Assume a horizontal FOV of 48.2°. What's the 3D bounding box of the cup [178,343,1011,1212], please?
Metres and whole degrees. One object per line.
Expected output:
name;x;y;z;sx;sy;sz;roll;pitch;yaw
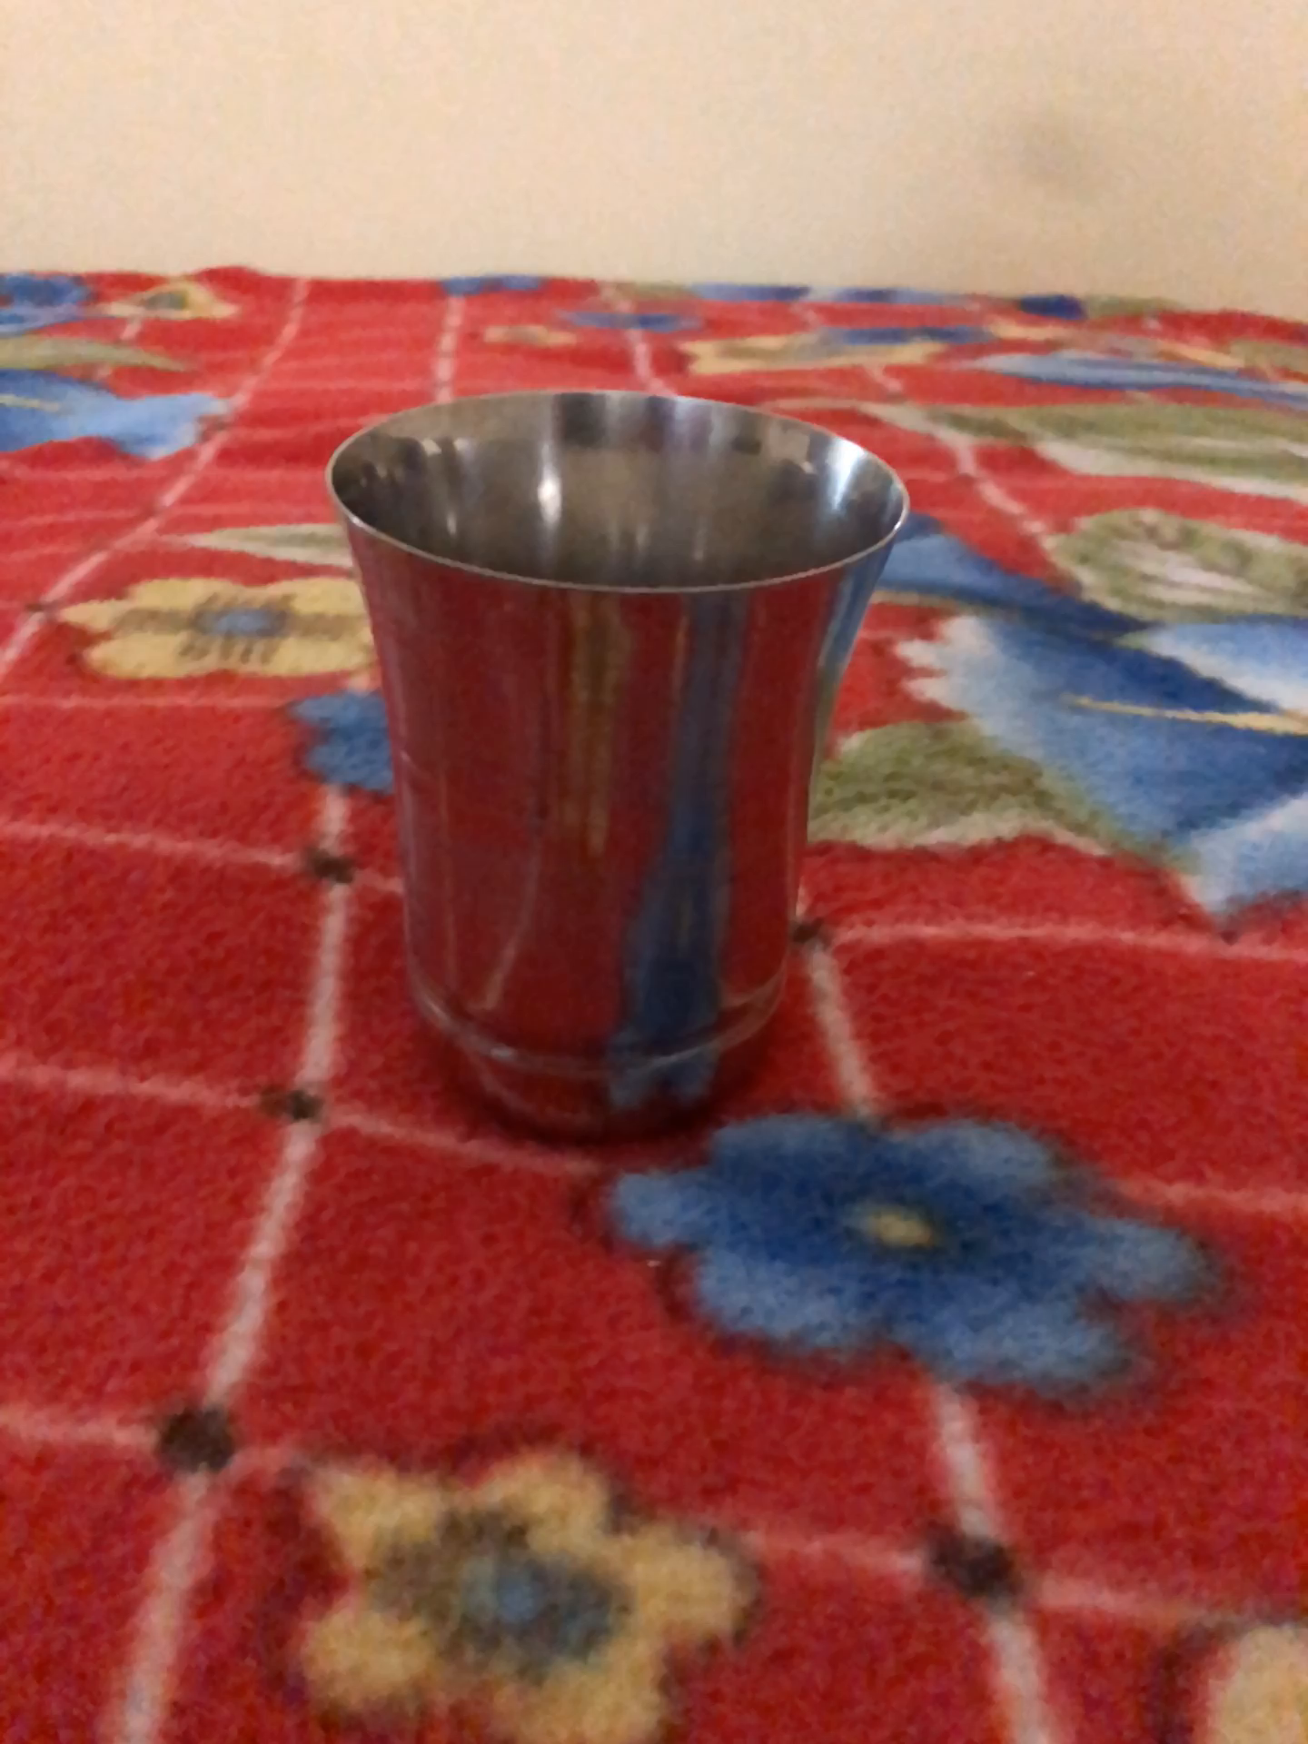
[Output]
cup;-0.009;-0.018;0.216;0.089;0.090;0.087;5;31;-3
